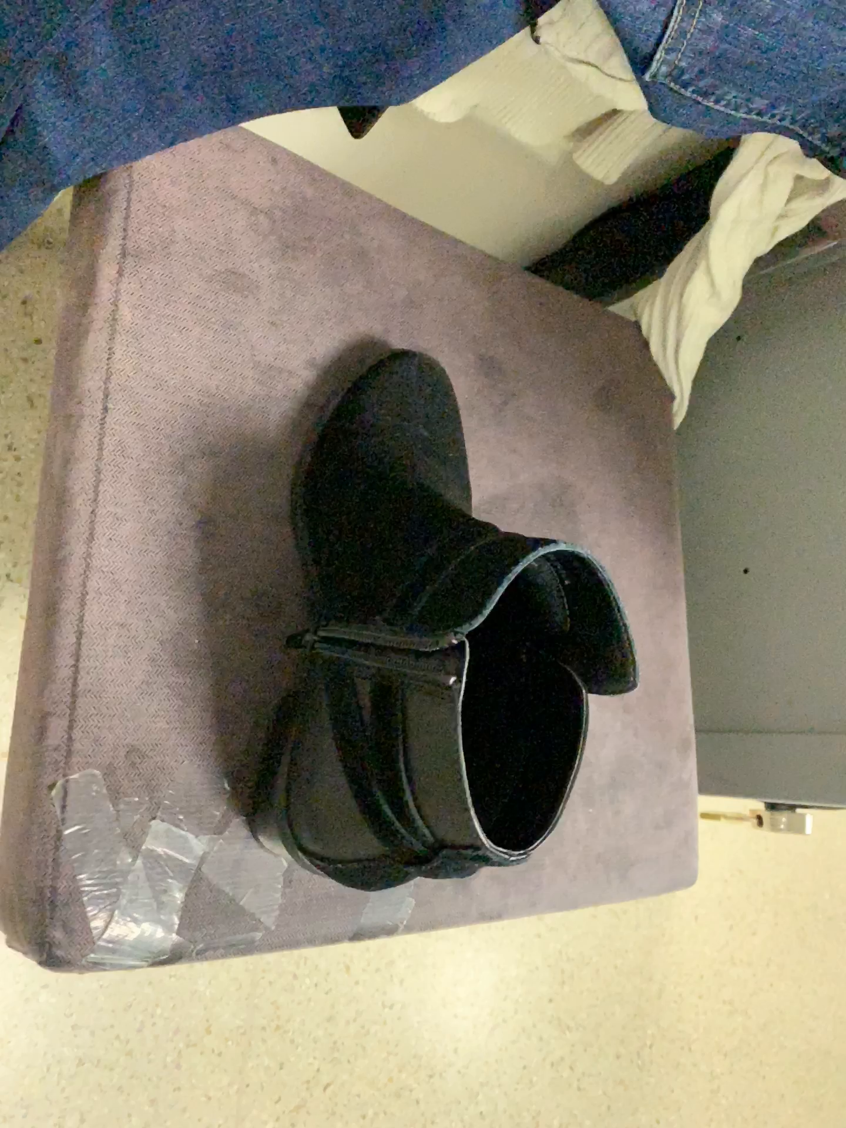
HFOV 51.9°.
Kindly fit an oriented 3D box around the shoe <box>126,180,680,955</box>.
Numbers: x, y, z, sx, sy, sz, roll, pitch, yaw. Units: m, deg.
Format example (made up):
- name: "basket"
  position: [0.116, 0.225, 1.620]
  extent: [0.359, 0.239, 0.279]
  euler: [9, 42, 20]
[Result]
- name: "shoe"
  position: [0.001, 0.000, 0.367]
  extent: [0.105, 0.135, 0.266]
  euler: [32, 63, -31]
